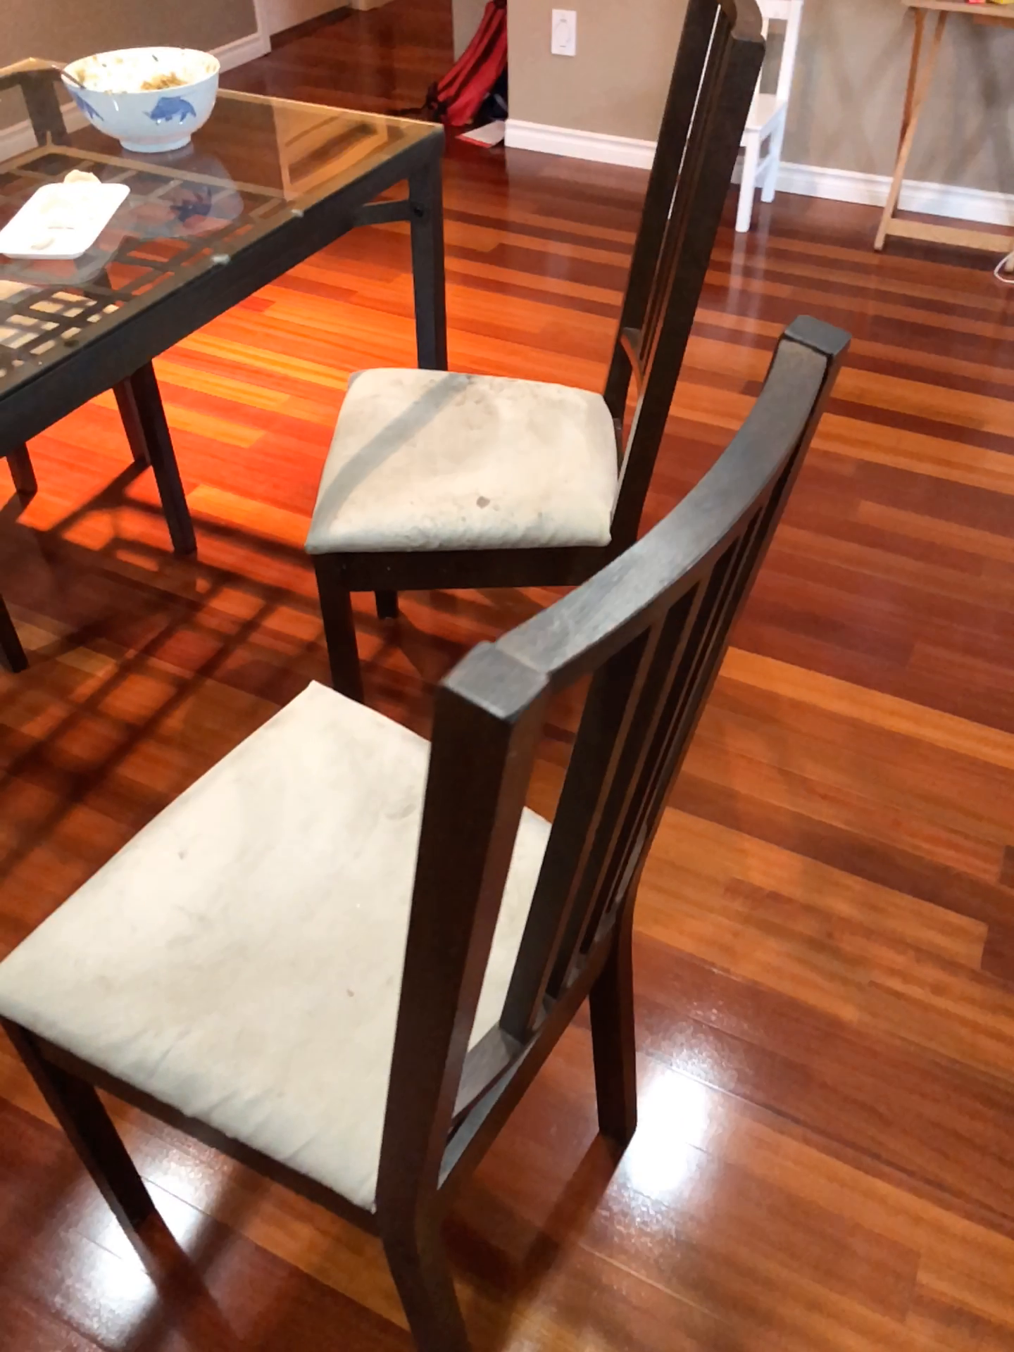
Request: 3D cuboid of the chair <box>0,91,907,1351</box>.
[{"bbox_3d":[-0.119,0.183,0.931,0.511,1.053,0.492,23,48,24],"label":"chair"}]
